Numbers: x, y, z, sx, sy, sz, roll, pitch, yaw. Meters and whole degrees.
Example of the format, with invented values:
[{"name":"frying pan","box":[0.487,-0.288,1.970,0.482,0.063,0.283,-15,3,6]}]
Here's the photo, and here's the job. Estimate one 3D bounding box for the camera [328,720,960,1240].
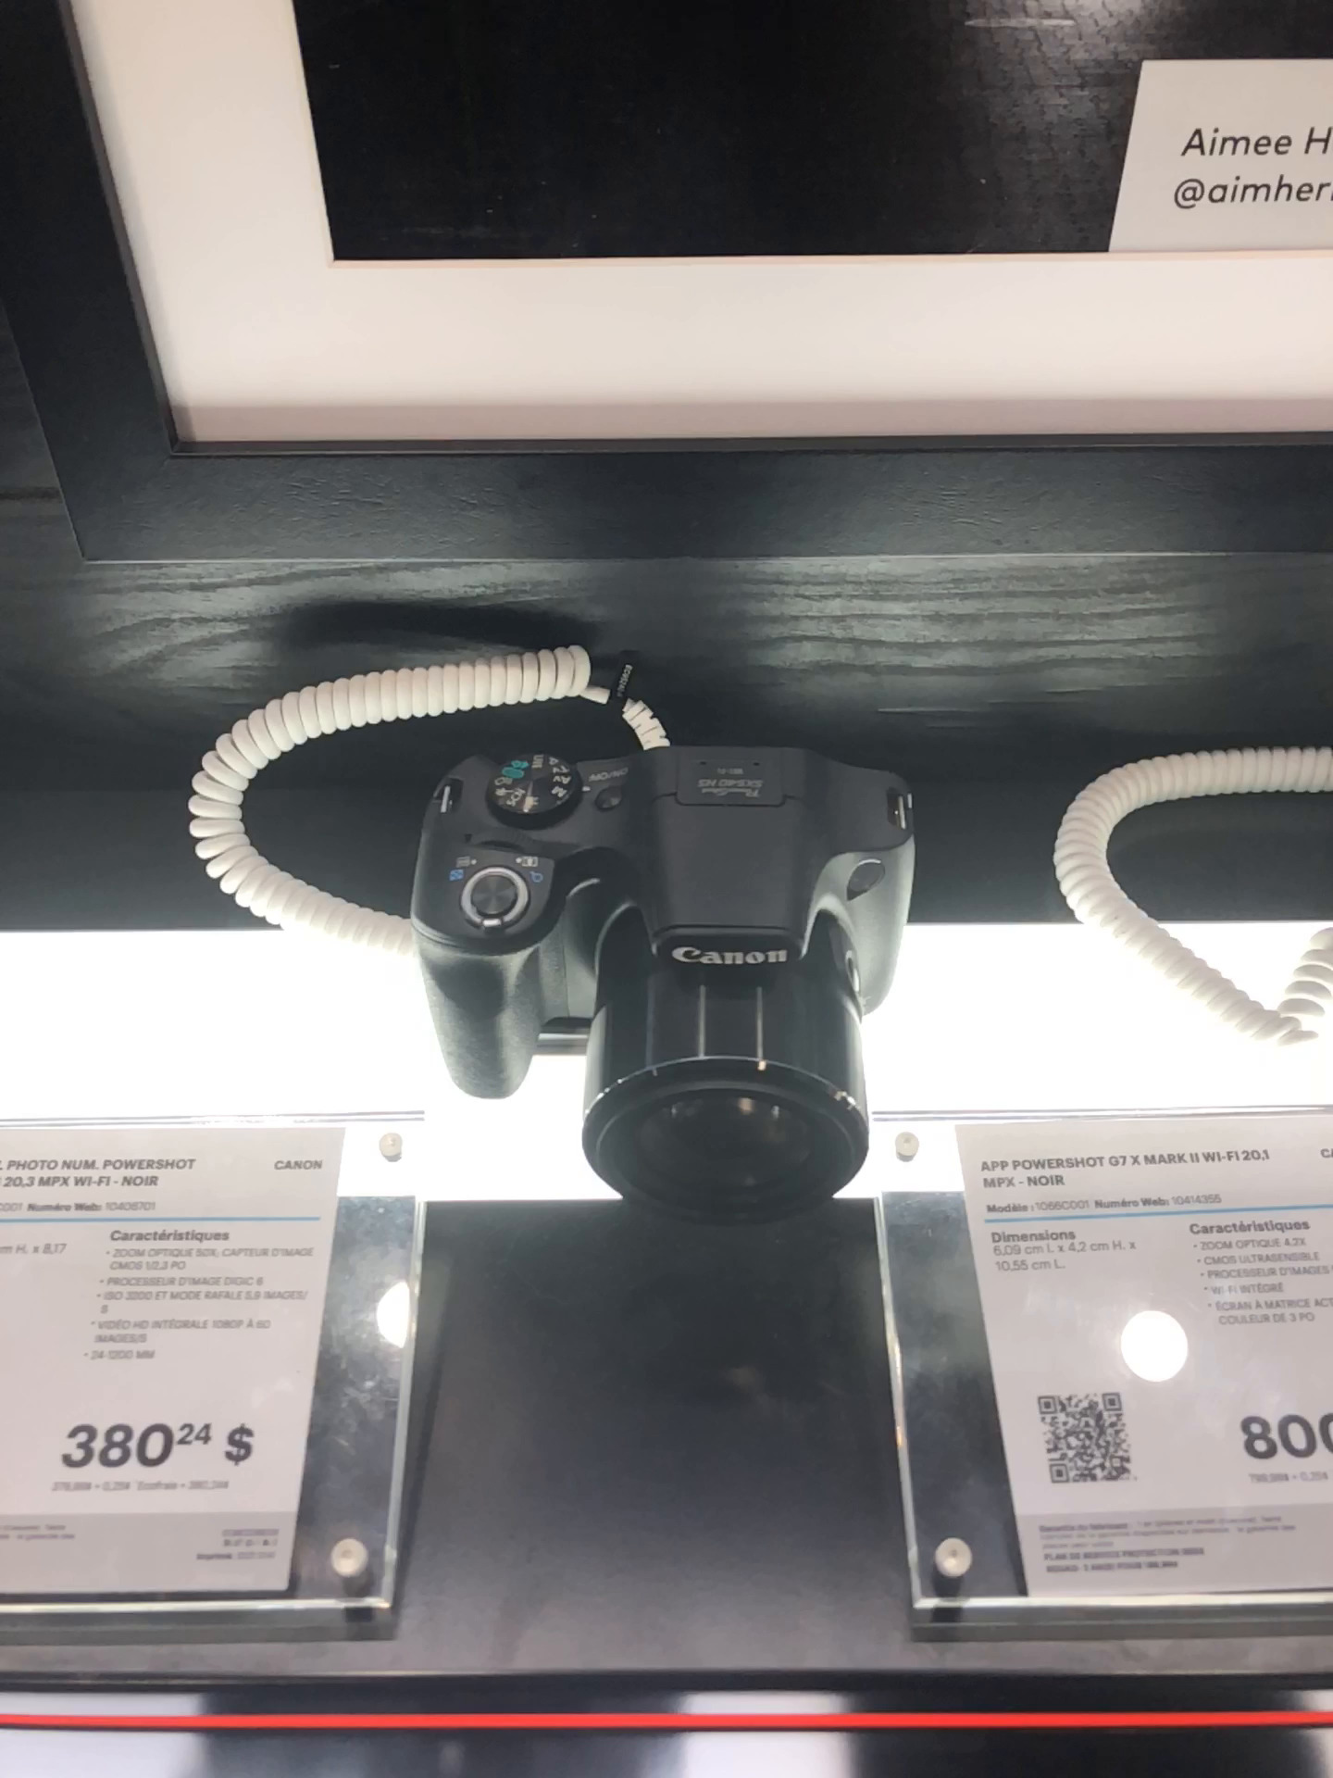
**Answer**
[{"name":"camera","box":[-0.004,0.022,0.344,0.122,0.099,0.071,0,42,0]}]
